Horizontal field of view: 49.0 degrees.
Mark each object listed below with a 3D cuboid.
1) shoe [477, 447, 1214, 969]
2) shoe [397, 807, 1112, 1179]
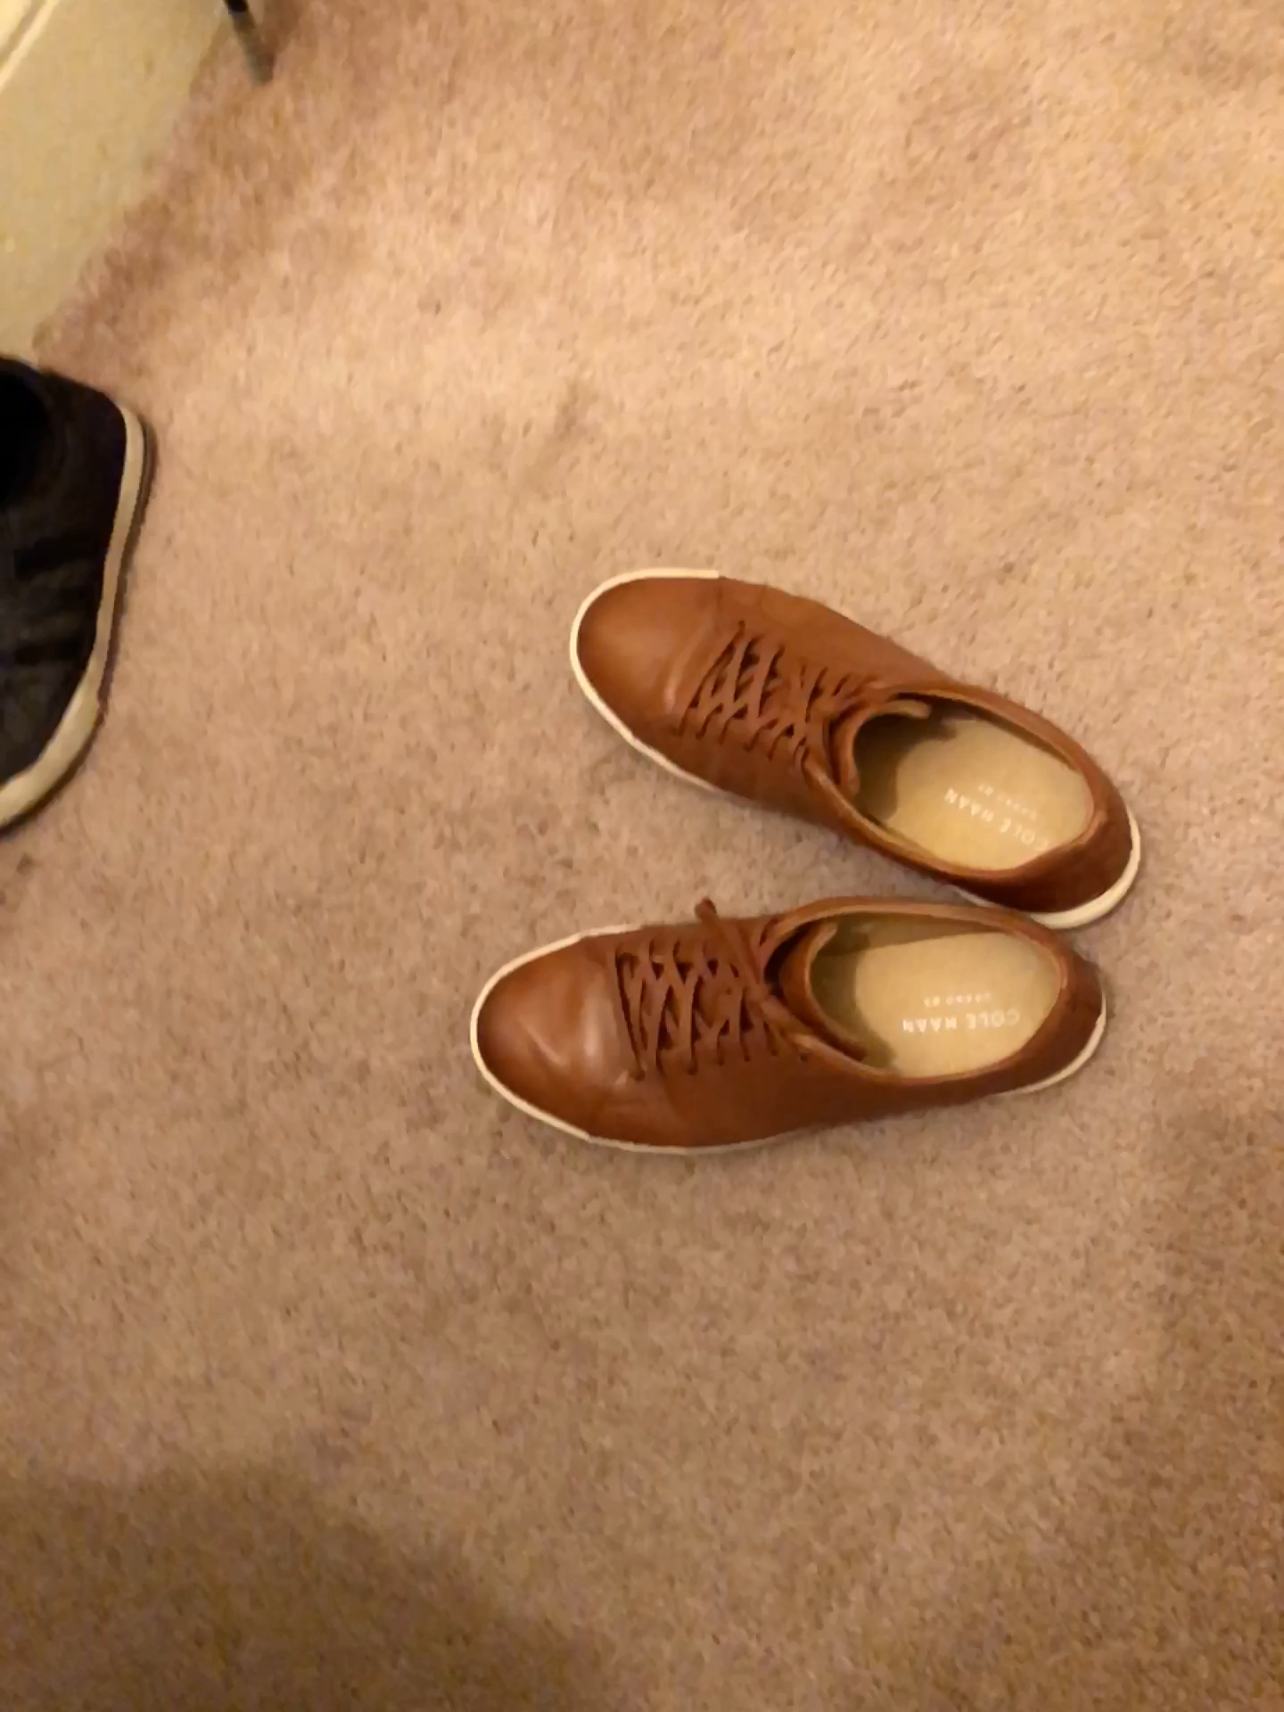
[{"bbox_3d":[0.088,-0.068,0.634,0.285,0.103,0.117,24,86,21],"label":"shoe"},{"bbox_3d":[0.047,0.069,0.616,0.285,0.100,0.117,-9,75,16],"label":"shoe"}]
